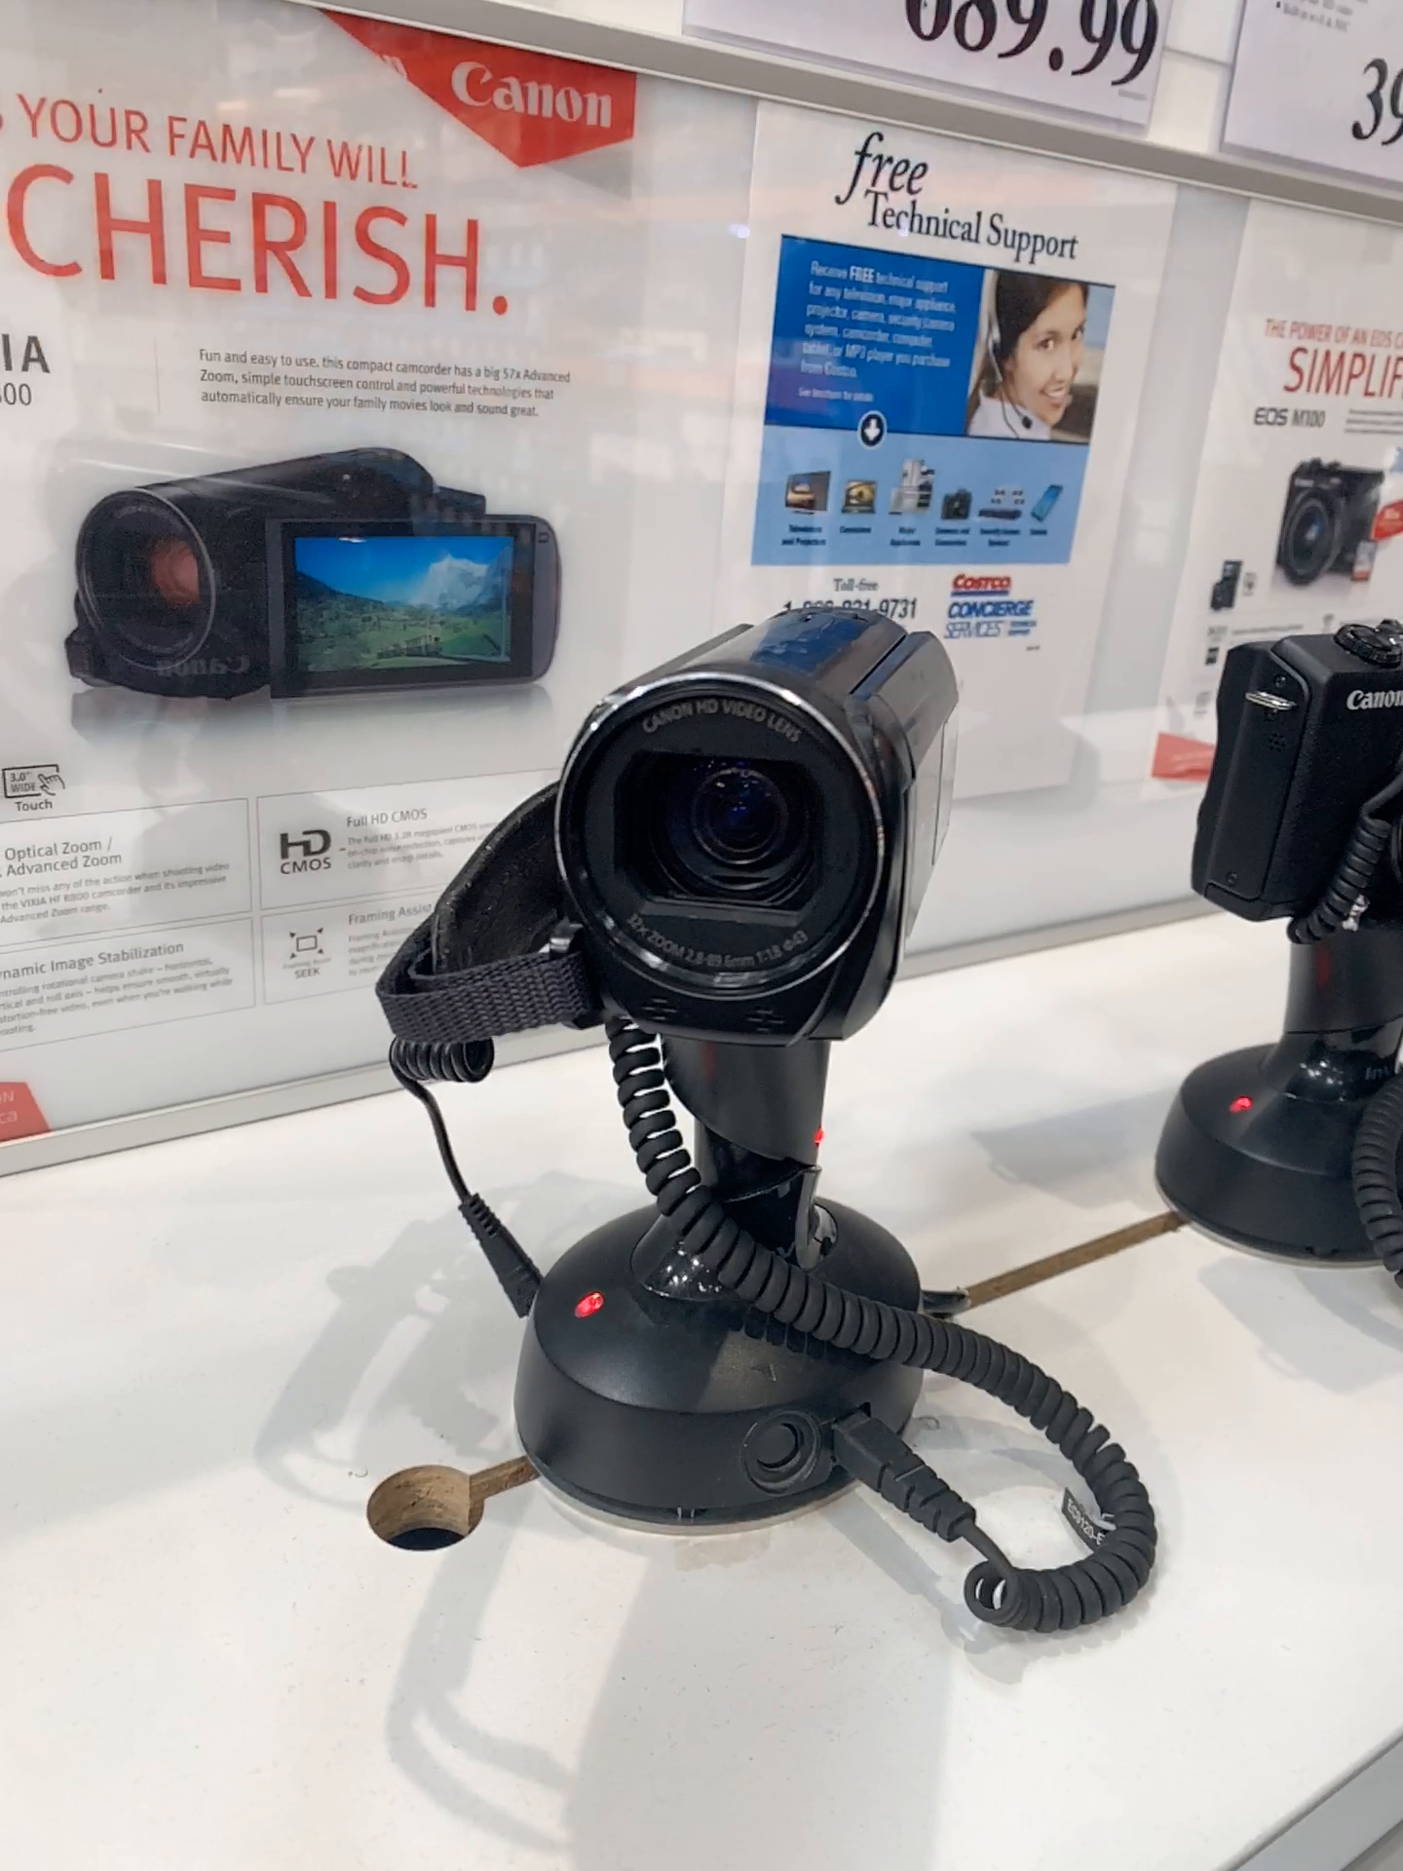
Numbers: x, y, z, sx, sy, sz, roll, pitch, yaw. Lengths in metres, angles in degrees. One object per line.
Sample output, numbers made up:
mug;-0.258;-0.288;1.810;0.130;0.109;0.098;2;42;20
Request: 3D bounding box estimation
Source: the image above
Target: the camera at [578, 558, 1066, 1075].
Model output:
camera;0.027;-0.029;0.244;0.058;0.054;0.114;9;19;12
